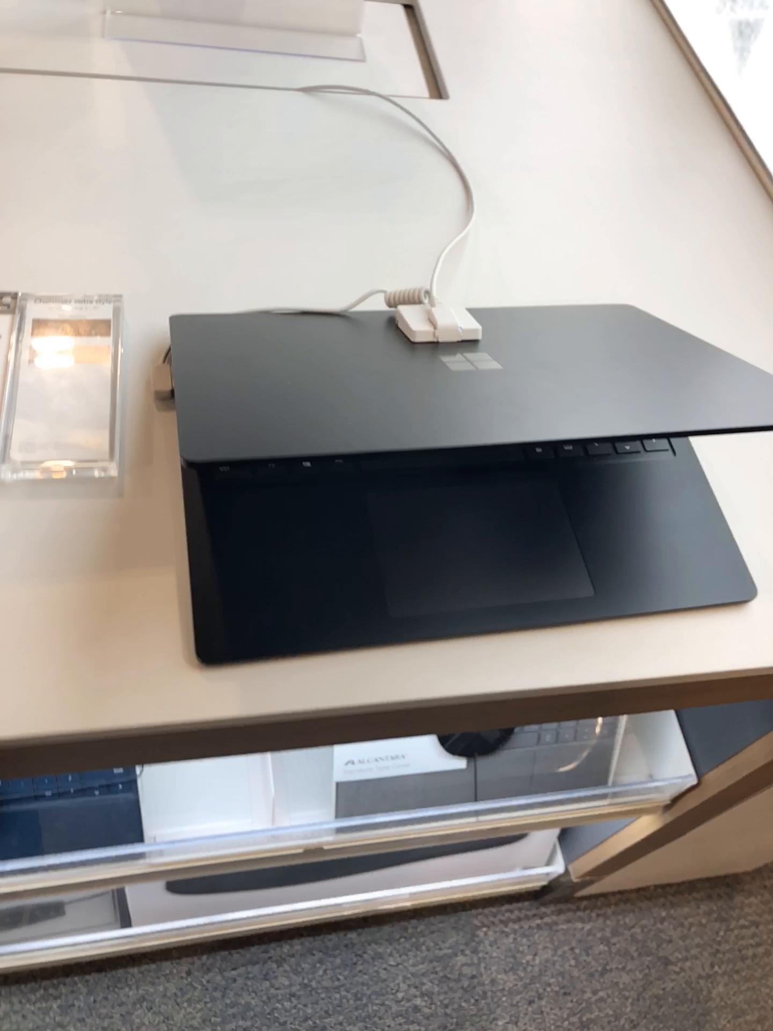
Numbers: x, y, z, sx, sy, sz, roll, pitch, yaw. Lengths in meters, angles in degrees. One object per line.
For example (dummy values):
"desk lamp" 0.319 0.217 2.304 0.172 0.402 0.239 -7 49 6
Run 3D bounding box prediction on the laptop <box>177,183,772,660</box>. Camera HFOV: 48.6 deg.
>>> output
"laptop" 0.048 -0.058 0.432 0.284 0.086 0.191 -5 65 -15
